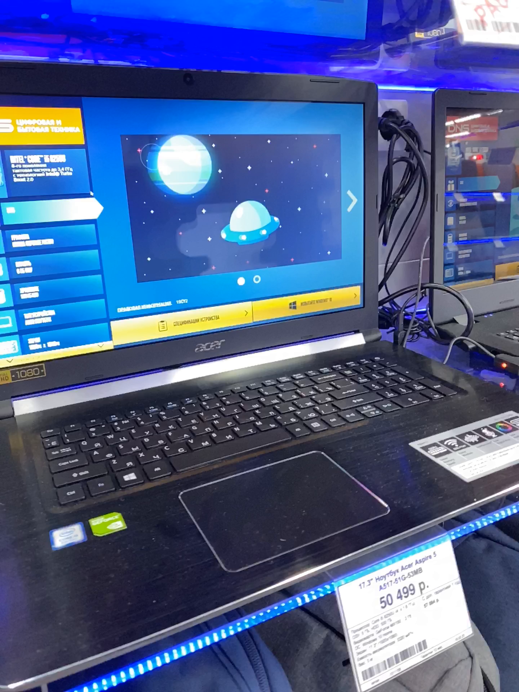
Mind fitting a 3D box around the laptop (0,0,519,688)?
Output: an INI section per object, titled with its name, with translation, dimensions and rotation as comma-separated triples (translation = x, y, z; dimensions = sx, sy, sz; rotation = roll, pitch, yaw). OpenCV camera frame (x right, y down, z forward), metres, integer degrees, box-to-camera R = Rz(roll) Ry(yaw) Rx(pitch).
[laptop]
translation = 0.006, -0.071, 0.391
dimensions = 0.424, 0.278, 0.312
rotation = -10, 20, -25
